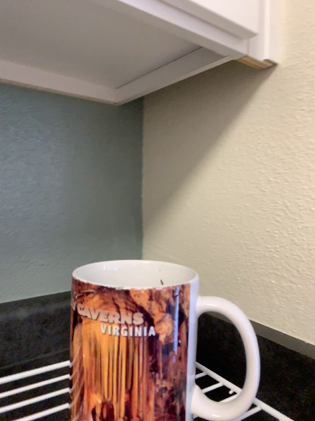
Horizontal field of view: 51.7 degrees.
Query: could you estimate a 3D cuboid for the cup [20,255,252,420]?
[{"bbox_3d":[-0.007,0.083,0.201,0.120,0.090,0.080,2,2,19],"label":"cup"}]
